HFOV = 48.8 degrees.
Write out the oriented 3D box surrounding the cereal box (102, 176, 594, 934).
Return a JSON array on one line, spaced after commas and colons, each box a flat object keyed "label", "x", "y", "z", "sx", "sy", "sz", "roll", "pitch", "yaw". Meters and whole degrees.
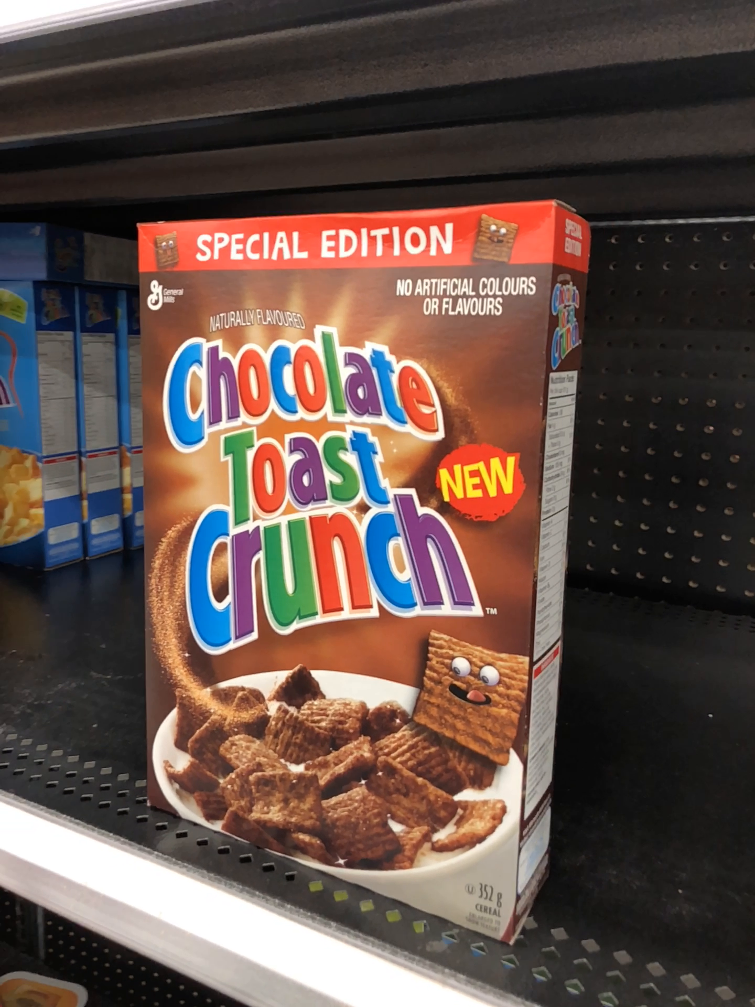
[{"label": "cereal box", "x": -0.023, "y": 0.013, "z": 0.357, "sx": 0.200, "sy": 0.269, "sz": 0.050, "roll": 7, "pitch": 11, "yaw": 28}]
